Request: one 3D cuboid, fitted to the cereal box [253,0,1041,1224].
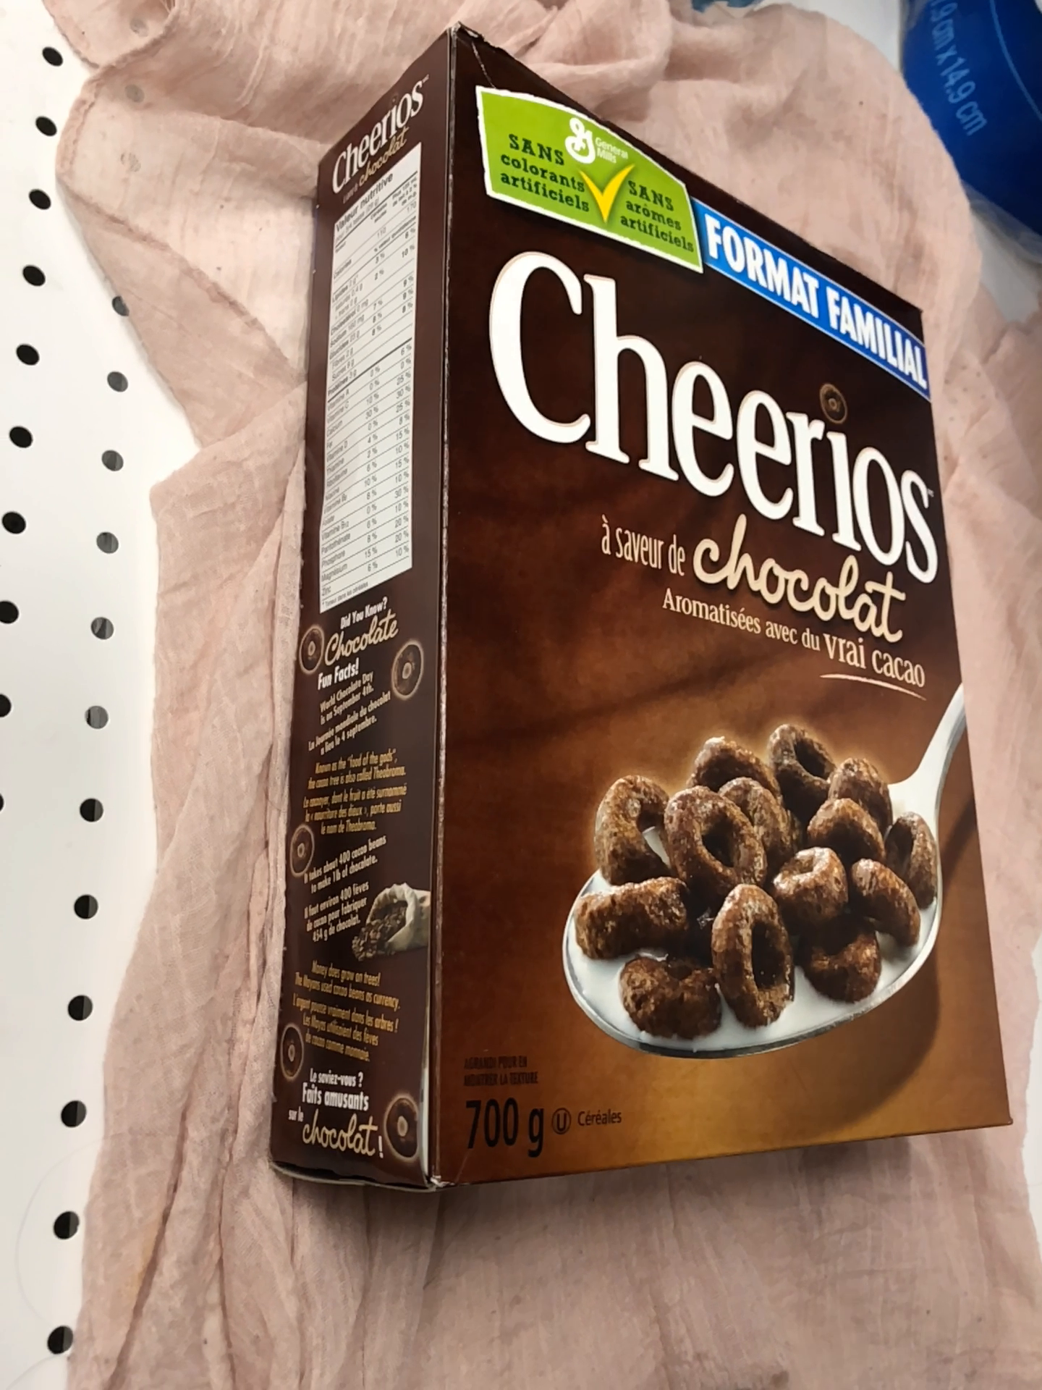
[{"bbox_3d":[0.046,-0.022,0.384,0.231,0.090,0.330,11,69,-36],"label":"cereal box"}]
